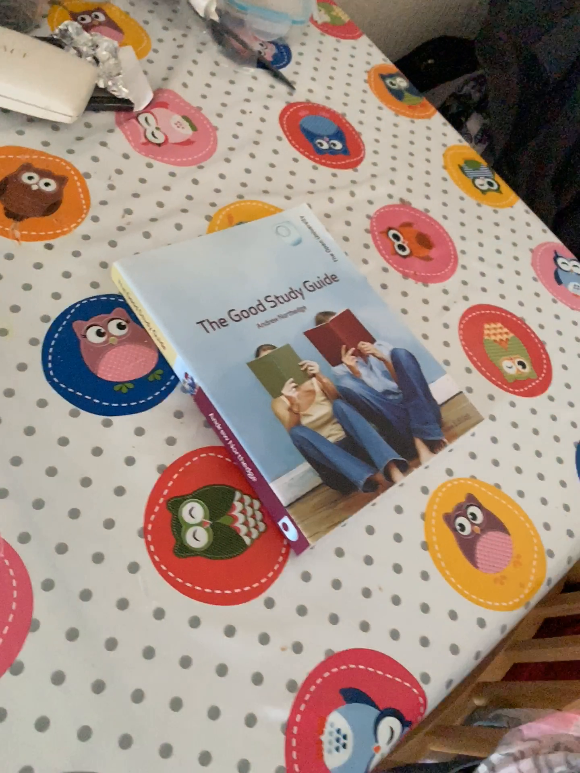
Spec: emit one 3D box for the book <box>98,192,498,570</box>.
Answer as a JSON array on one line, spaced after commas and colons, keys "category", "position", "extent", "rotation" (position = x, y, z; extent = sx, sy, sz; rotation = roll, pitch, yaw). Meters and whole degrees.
[{"category": "book", "position": [0.011, -0.029, 0.469], "extent": [0.211, 0.030, 0.260], "rotation": [-26, 73, -33]}]
